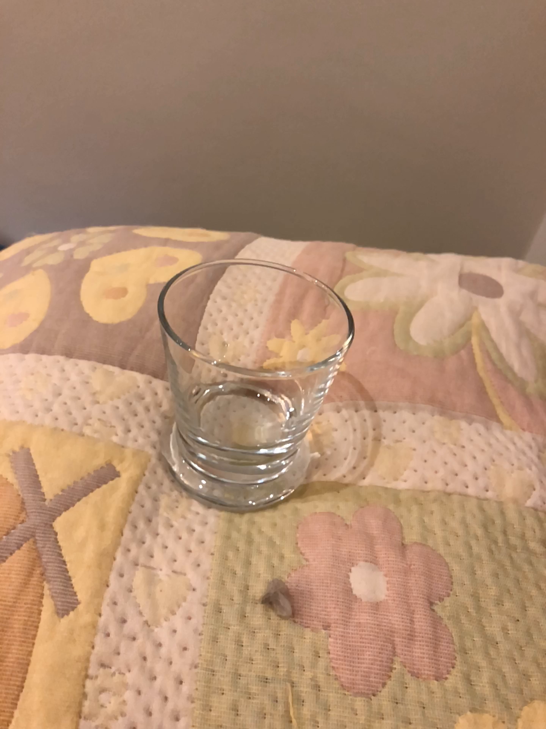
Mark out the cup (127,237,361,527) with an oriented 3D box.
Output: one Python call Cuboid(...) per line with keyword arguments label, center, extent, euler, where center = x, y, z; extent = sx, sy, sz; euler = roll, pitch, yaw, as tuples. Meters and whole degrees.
Cuboid(label="cup", center=(-0.017, 0.009, 0.271), extent=(0.080, 0.089, 0.081), euler=(8, 40, -7))
